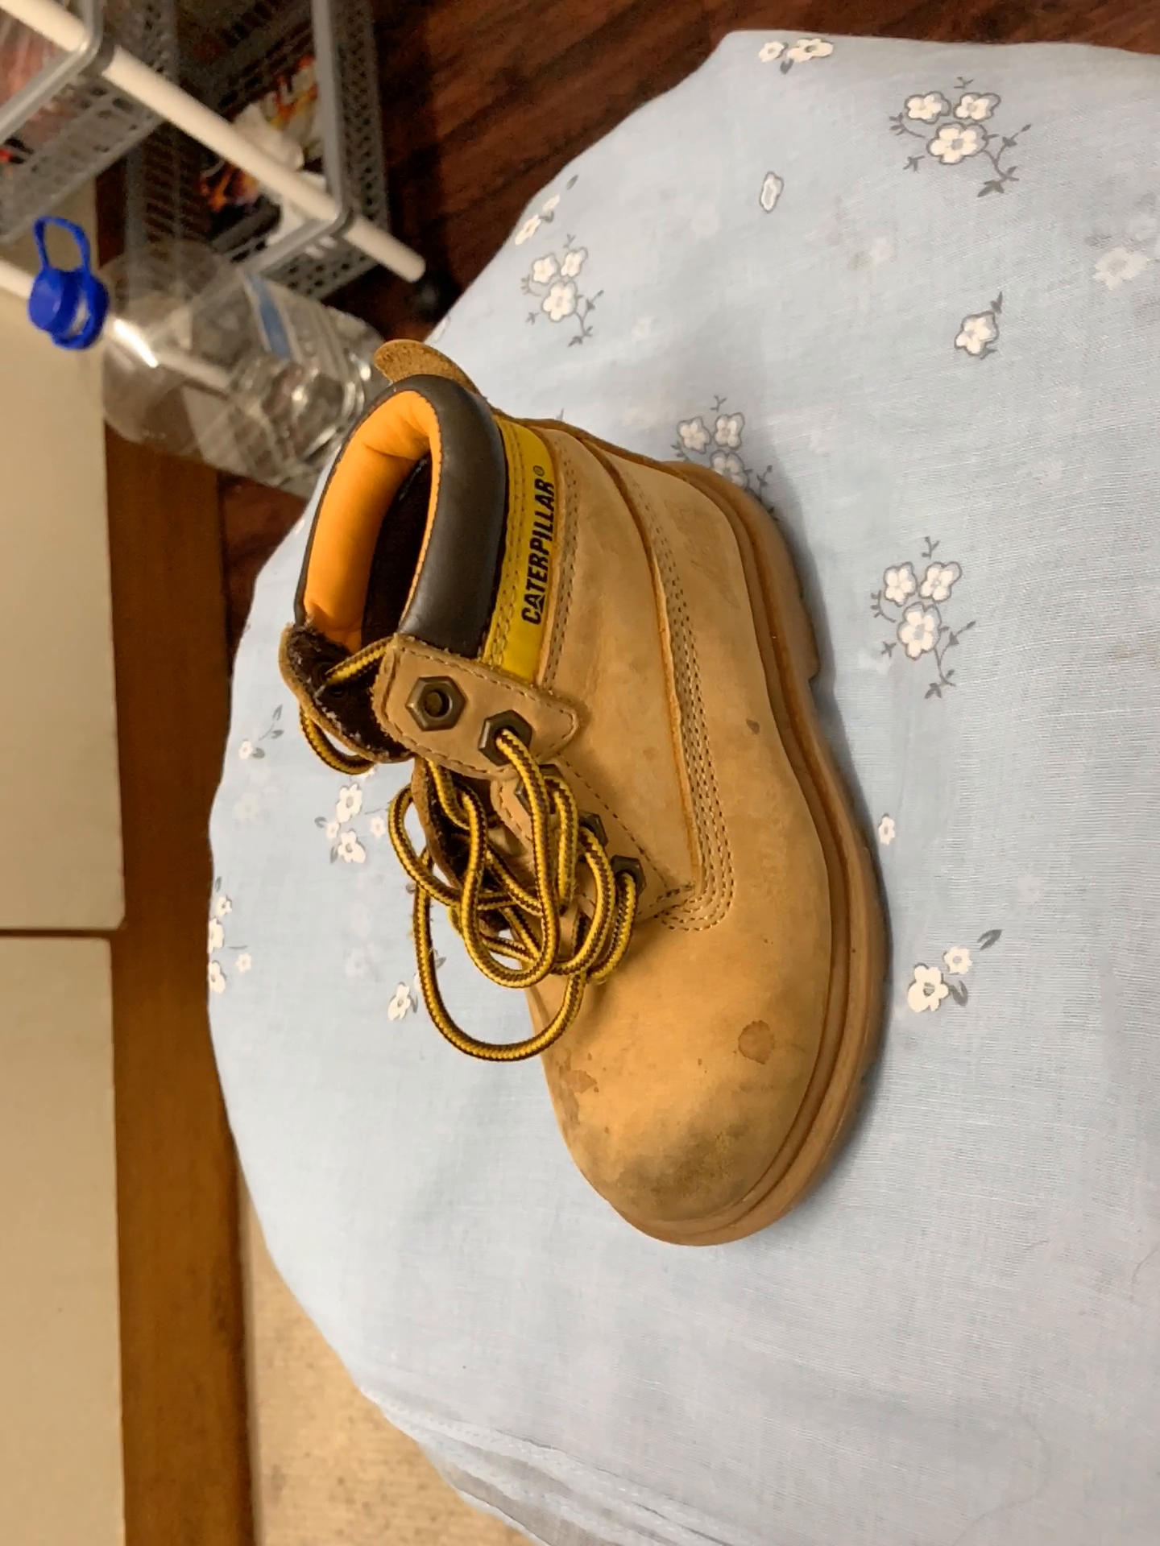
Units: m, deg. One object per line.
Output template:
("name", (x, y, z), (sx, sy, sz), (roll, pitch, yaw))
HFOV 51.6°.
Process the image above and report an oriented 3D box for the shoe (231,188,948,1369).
("shoe", (0.003, 0.007, 0.264), (0.096, 0.119, 0.190), (-11, 76, 34))
